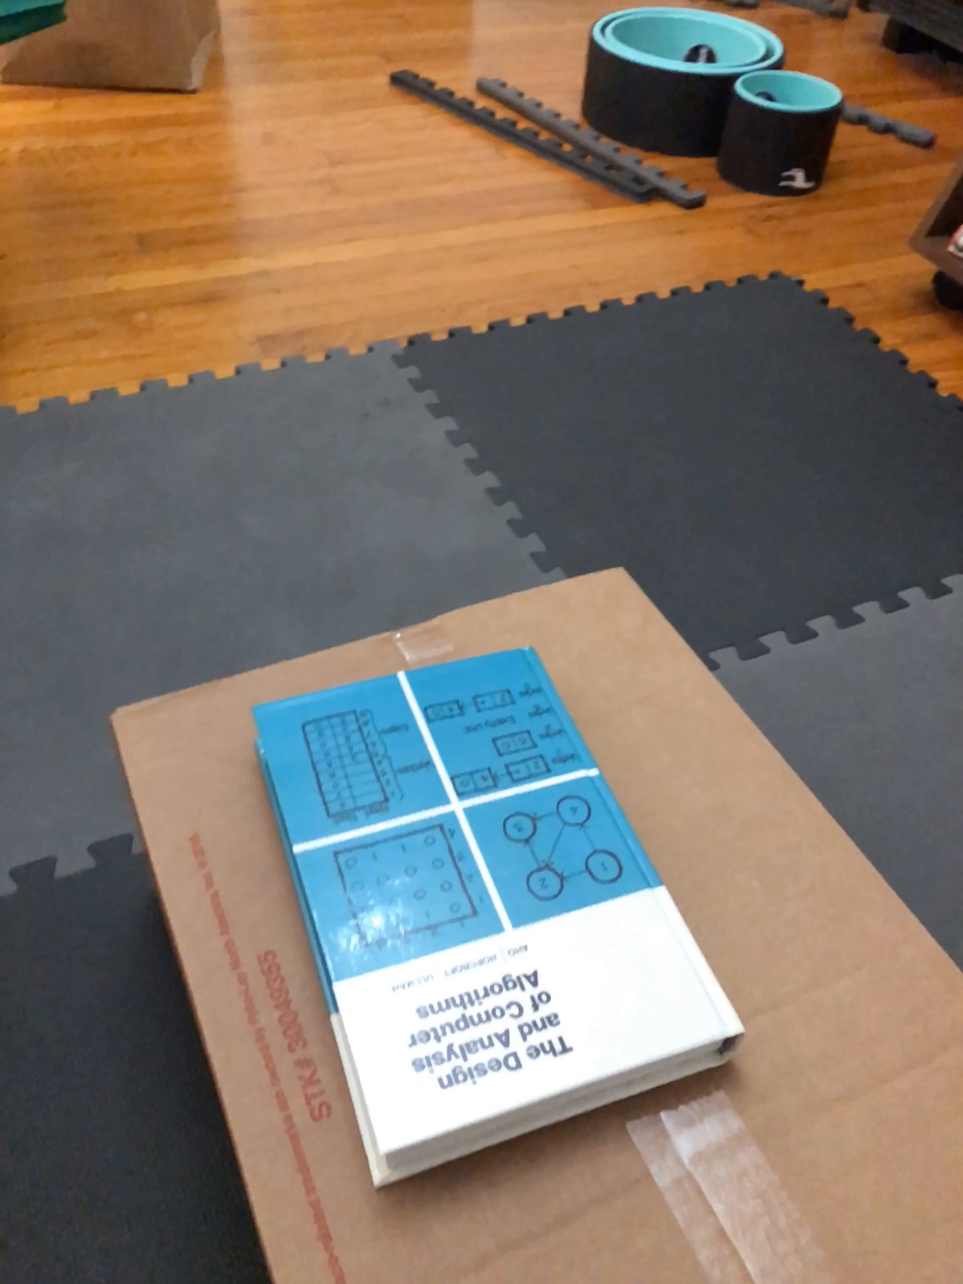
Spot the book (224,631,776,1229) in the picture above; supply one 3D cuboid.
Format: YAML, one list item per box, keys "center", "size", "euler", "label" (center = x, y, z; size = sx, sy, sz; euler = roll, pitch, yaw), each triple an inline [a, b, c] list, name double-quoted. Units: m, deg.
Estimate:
- center: [-0.007, 0.116, 0.529]
  size: [0.190, 0.040, 0.261]
  euler: [-12, 48, -16]
  label: "book"
